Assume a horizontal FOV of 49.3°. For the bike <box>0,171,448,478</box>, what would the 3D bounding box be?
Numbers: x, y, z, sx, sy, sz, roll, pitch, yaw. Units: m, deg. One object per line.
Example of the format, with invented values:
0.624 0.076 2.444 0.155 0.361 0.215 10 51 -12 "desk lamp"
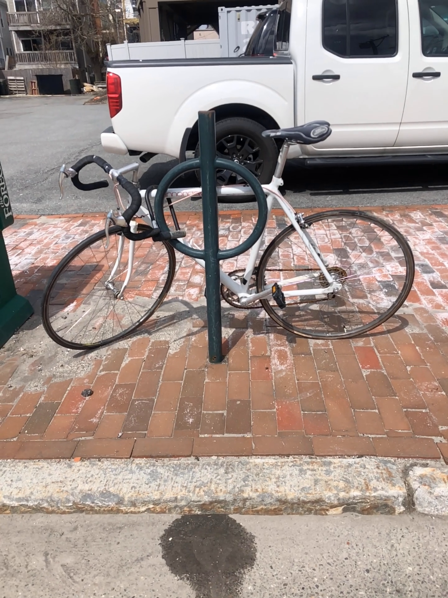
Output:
0.037 0.039 1.584 1.274 0.650 0.467 -7 24 -4 "bike"
